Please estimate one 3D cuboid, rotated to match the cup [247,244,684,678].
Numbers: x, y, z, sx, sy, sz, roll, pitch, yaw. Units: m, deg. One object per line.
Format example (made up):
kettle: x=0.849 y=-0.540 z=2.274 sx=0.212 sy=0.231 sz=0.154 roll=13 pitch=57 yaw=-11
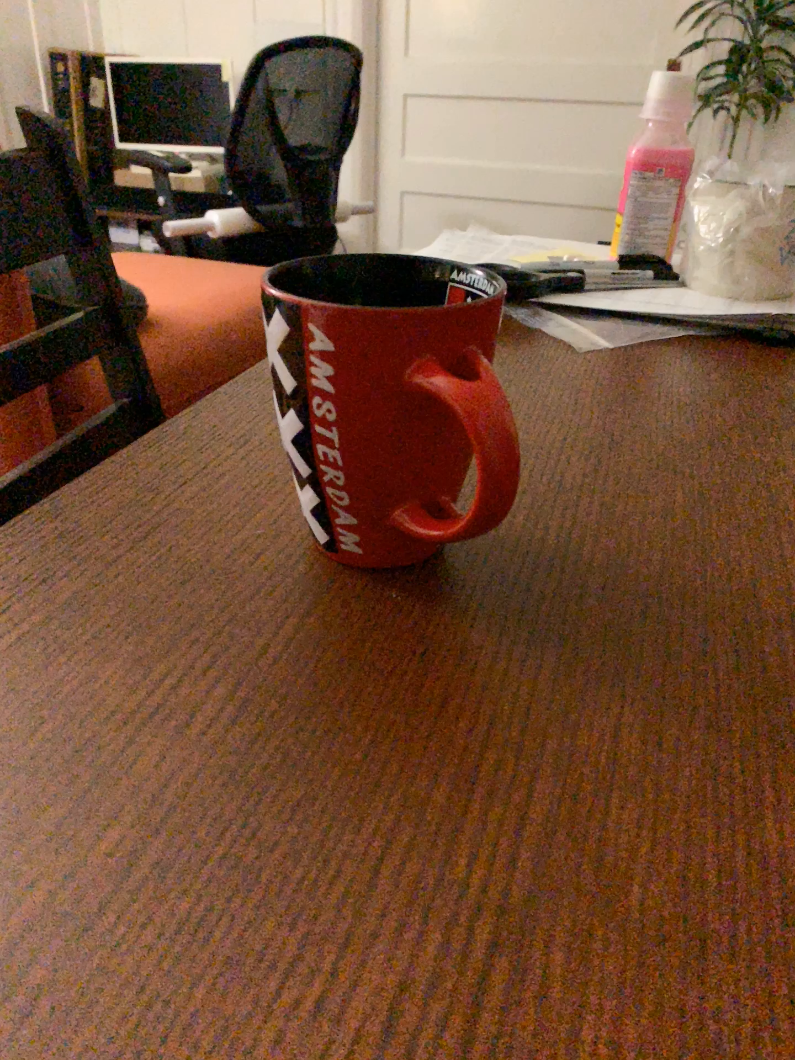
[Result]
cup: x=0.012 y=-0.037 z=0.294 sx=0.090 sy=0.099 sz=0.131 roll=-12 pitch=32 yaw=-24
